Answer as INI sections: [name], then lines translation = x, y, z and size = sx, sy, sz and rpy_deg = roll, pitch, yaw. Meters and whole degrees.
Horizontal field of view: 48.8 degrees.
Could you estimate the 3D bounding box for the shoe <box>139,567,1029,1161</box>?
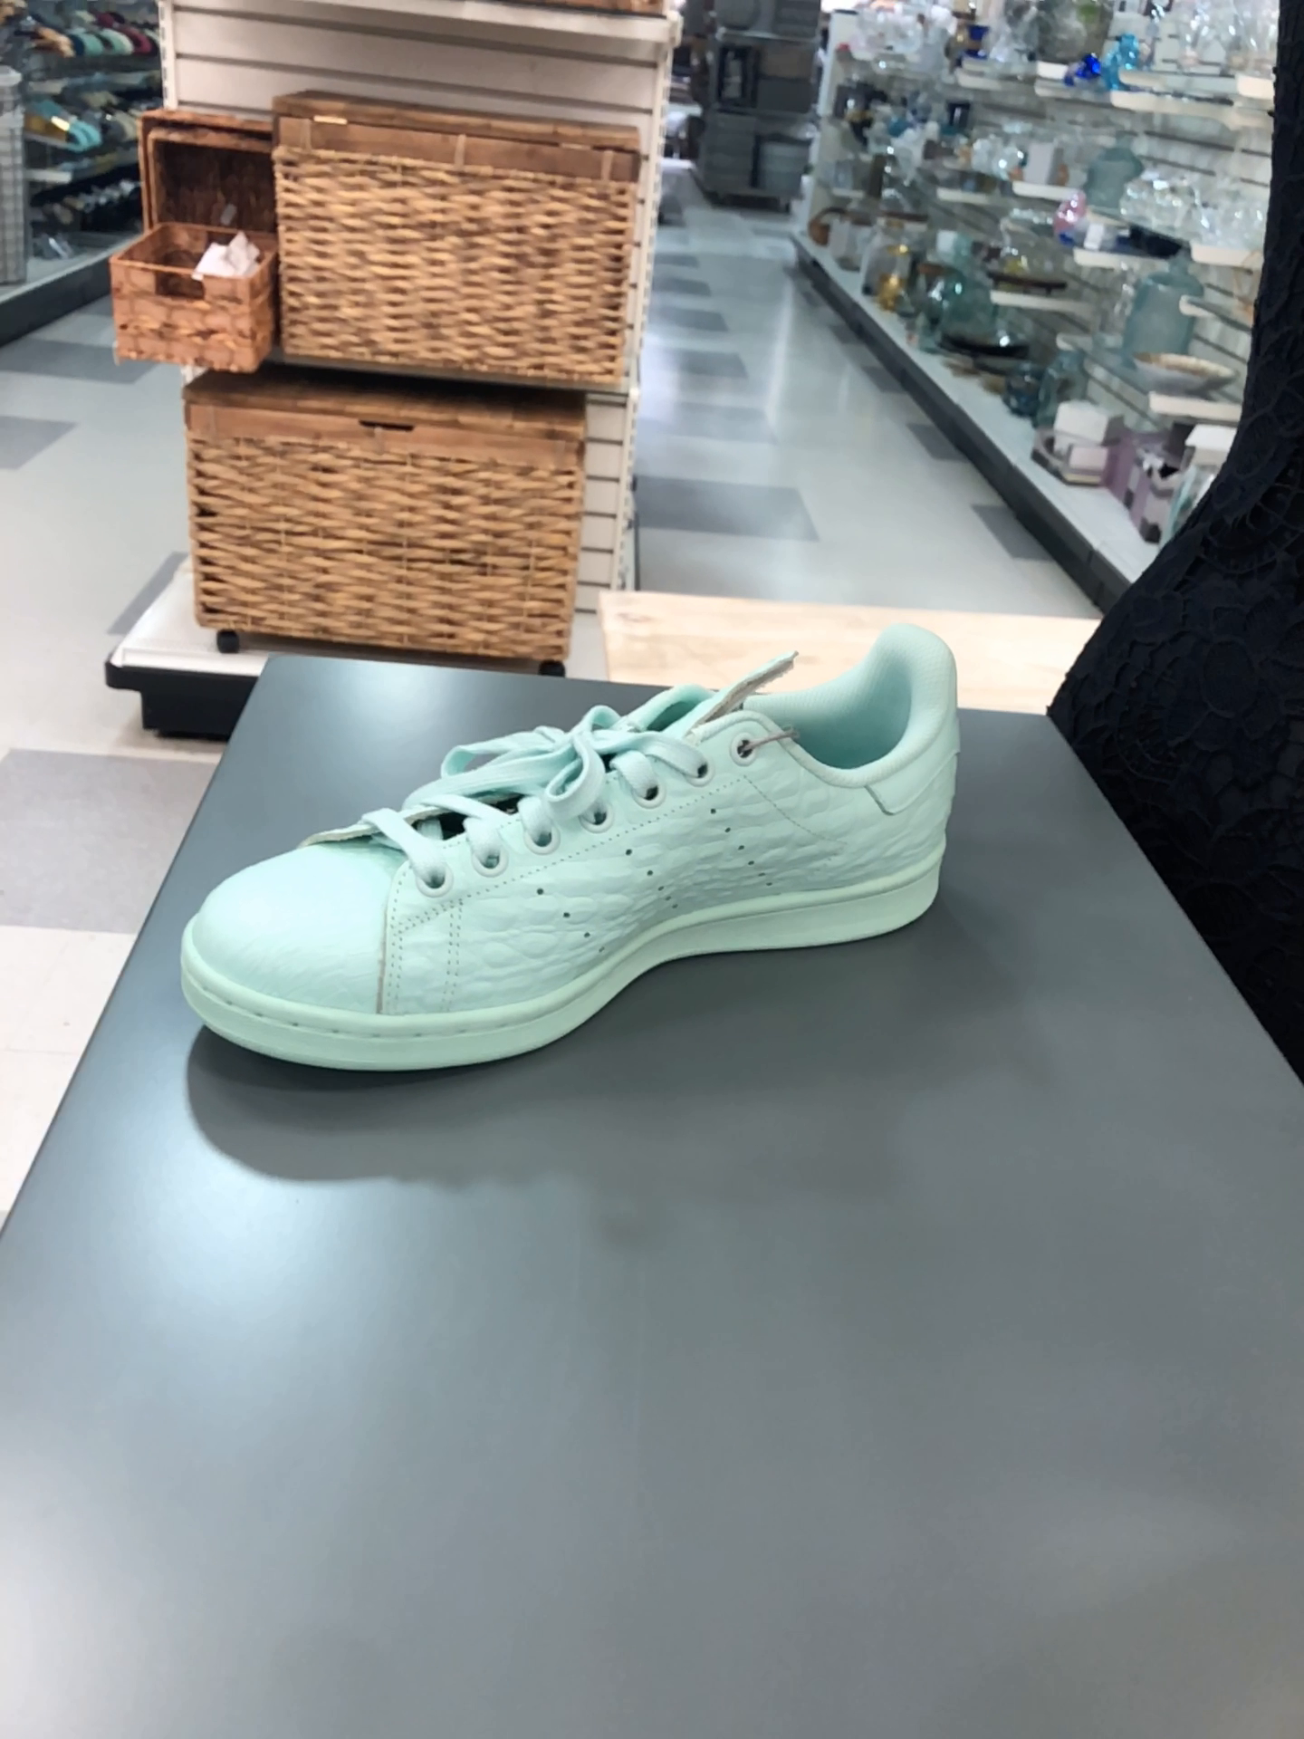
[shoe]
translation = -0.019, -0.017, 0.464
size = 0.252, 0.112, 0.106
rpy_deg = -12, 34, -30
